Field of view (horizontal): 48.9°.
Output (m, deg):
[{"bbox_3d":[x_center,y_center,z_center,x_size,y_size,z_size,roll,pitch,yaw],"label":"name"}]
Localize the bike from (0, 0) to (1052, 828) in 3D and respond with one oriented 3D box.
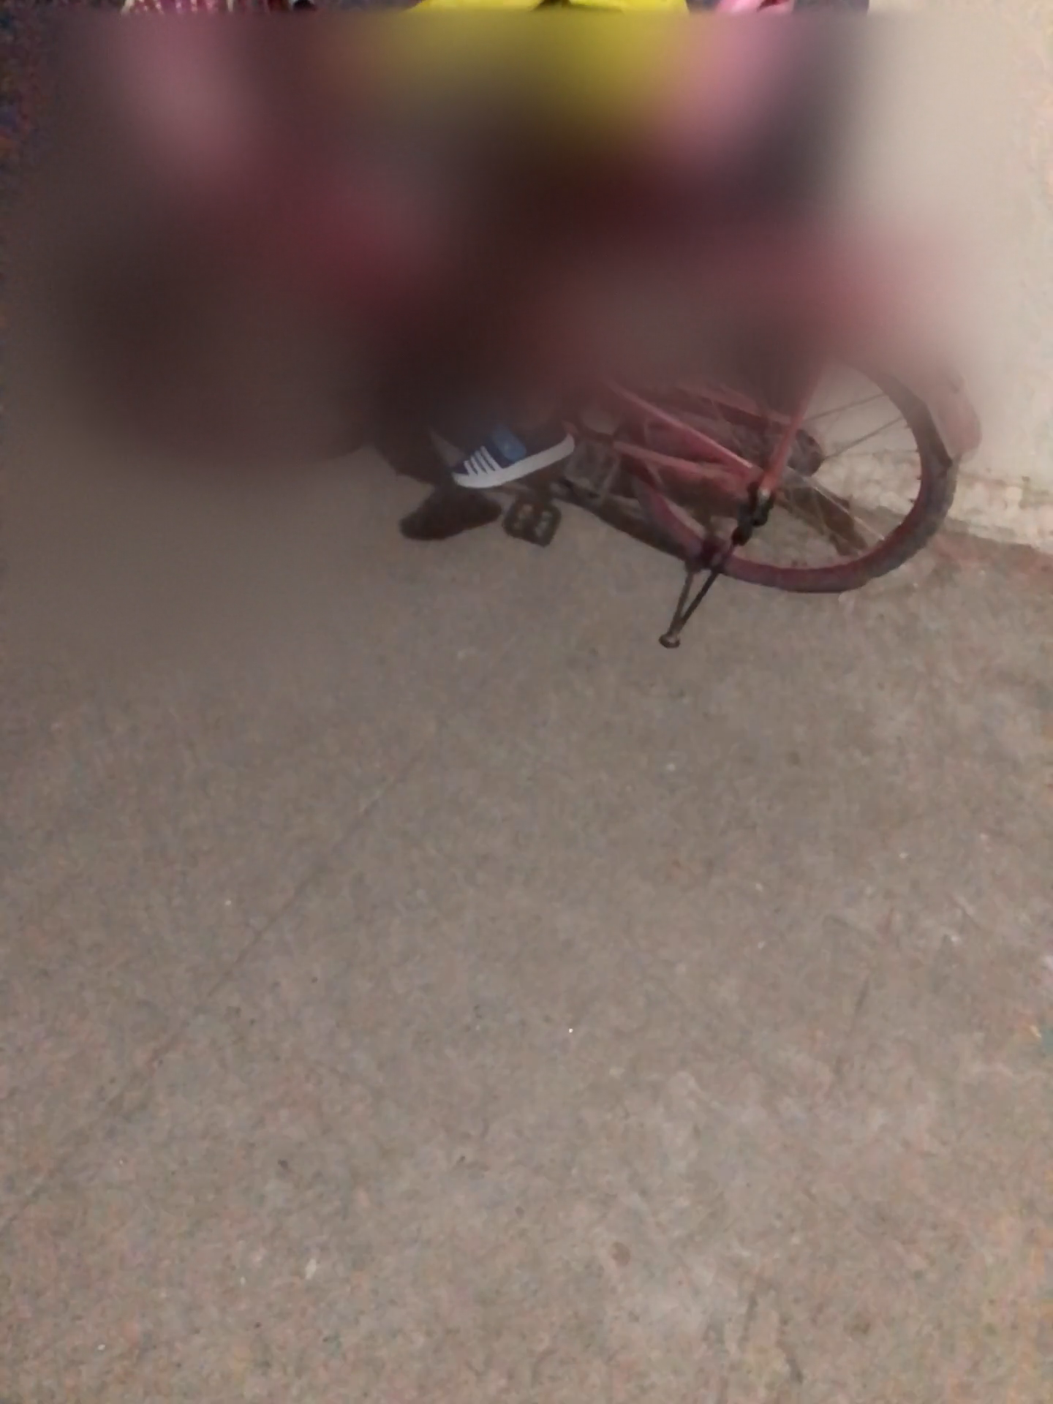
[{"bbox_3d":[-0.108,-0.494,1.408,1.277,0.909,0.497,14,42,13],"label":"bike"}]
